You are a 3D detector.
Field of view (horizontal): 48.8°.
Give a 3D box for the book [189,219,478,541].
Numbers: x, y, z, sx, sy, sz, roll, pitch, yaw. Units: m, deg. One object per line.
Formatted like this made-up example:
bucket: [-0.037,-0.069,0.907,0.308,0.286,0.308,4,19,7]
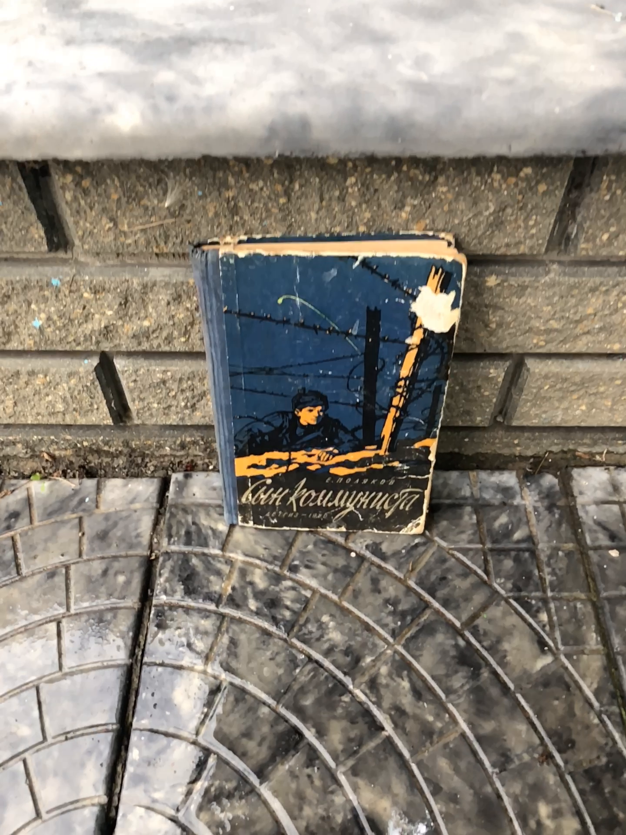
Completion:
book: [0.010,-0.012,0.411,0.140,0.199,0.040,2,38,2]
